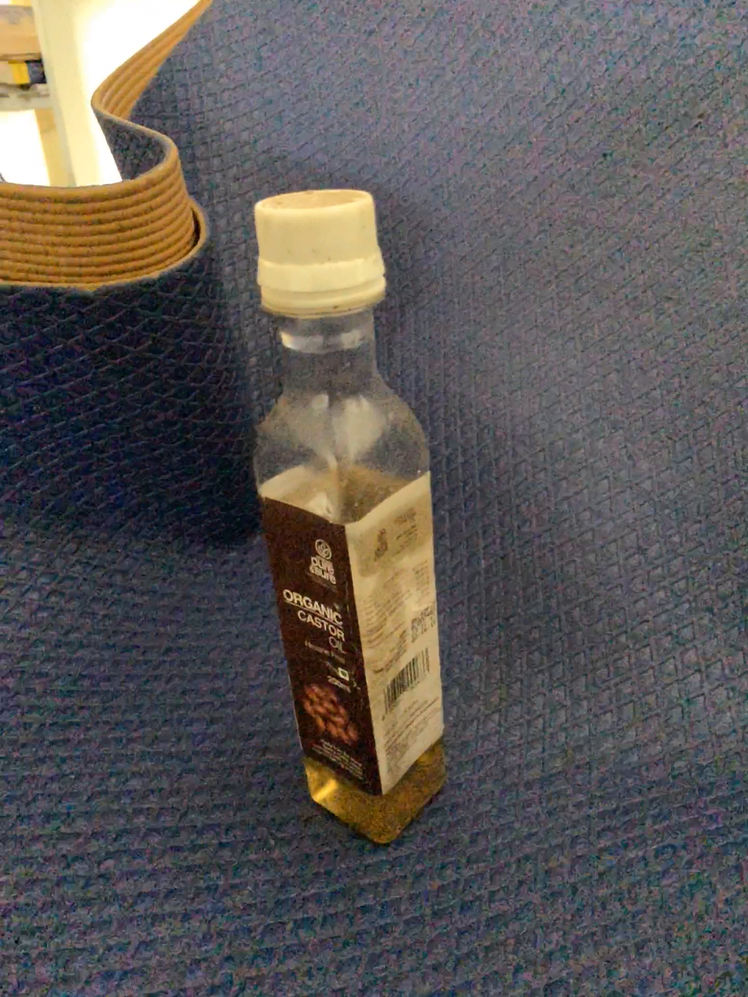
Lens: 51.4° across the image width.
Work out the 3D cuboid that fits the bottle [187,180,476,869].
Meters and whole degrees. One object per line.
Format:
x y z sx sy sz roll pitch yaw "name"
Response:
-0.006 0.014 0.235 0.050 0.198 0.050 -2 27 1 "bottle"
